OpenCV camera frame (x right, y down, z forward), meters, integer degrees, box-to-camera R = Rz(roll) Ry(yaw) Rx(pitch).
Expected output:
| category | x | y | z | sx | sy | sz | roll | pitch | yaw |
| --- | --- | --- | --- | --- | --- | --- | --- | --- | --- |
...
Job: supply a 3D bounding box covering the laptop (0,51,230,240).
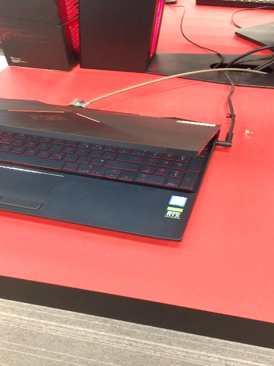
| category | x | y | z | sx | sy | sz | roll | pitch | yaw |
| --- | --- | --- | --- | --- | --- | --- | --- | --- | --- |
| laptop | -0.108 | -0.066 | 0.486 | 0.404 | 0.107 | 0.202 | 10 | 49 | 11 |
